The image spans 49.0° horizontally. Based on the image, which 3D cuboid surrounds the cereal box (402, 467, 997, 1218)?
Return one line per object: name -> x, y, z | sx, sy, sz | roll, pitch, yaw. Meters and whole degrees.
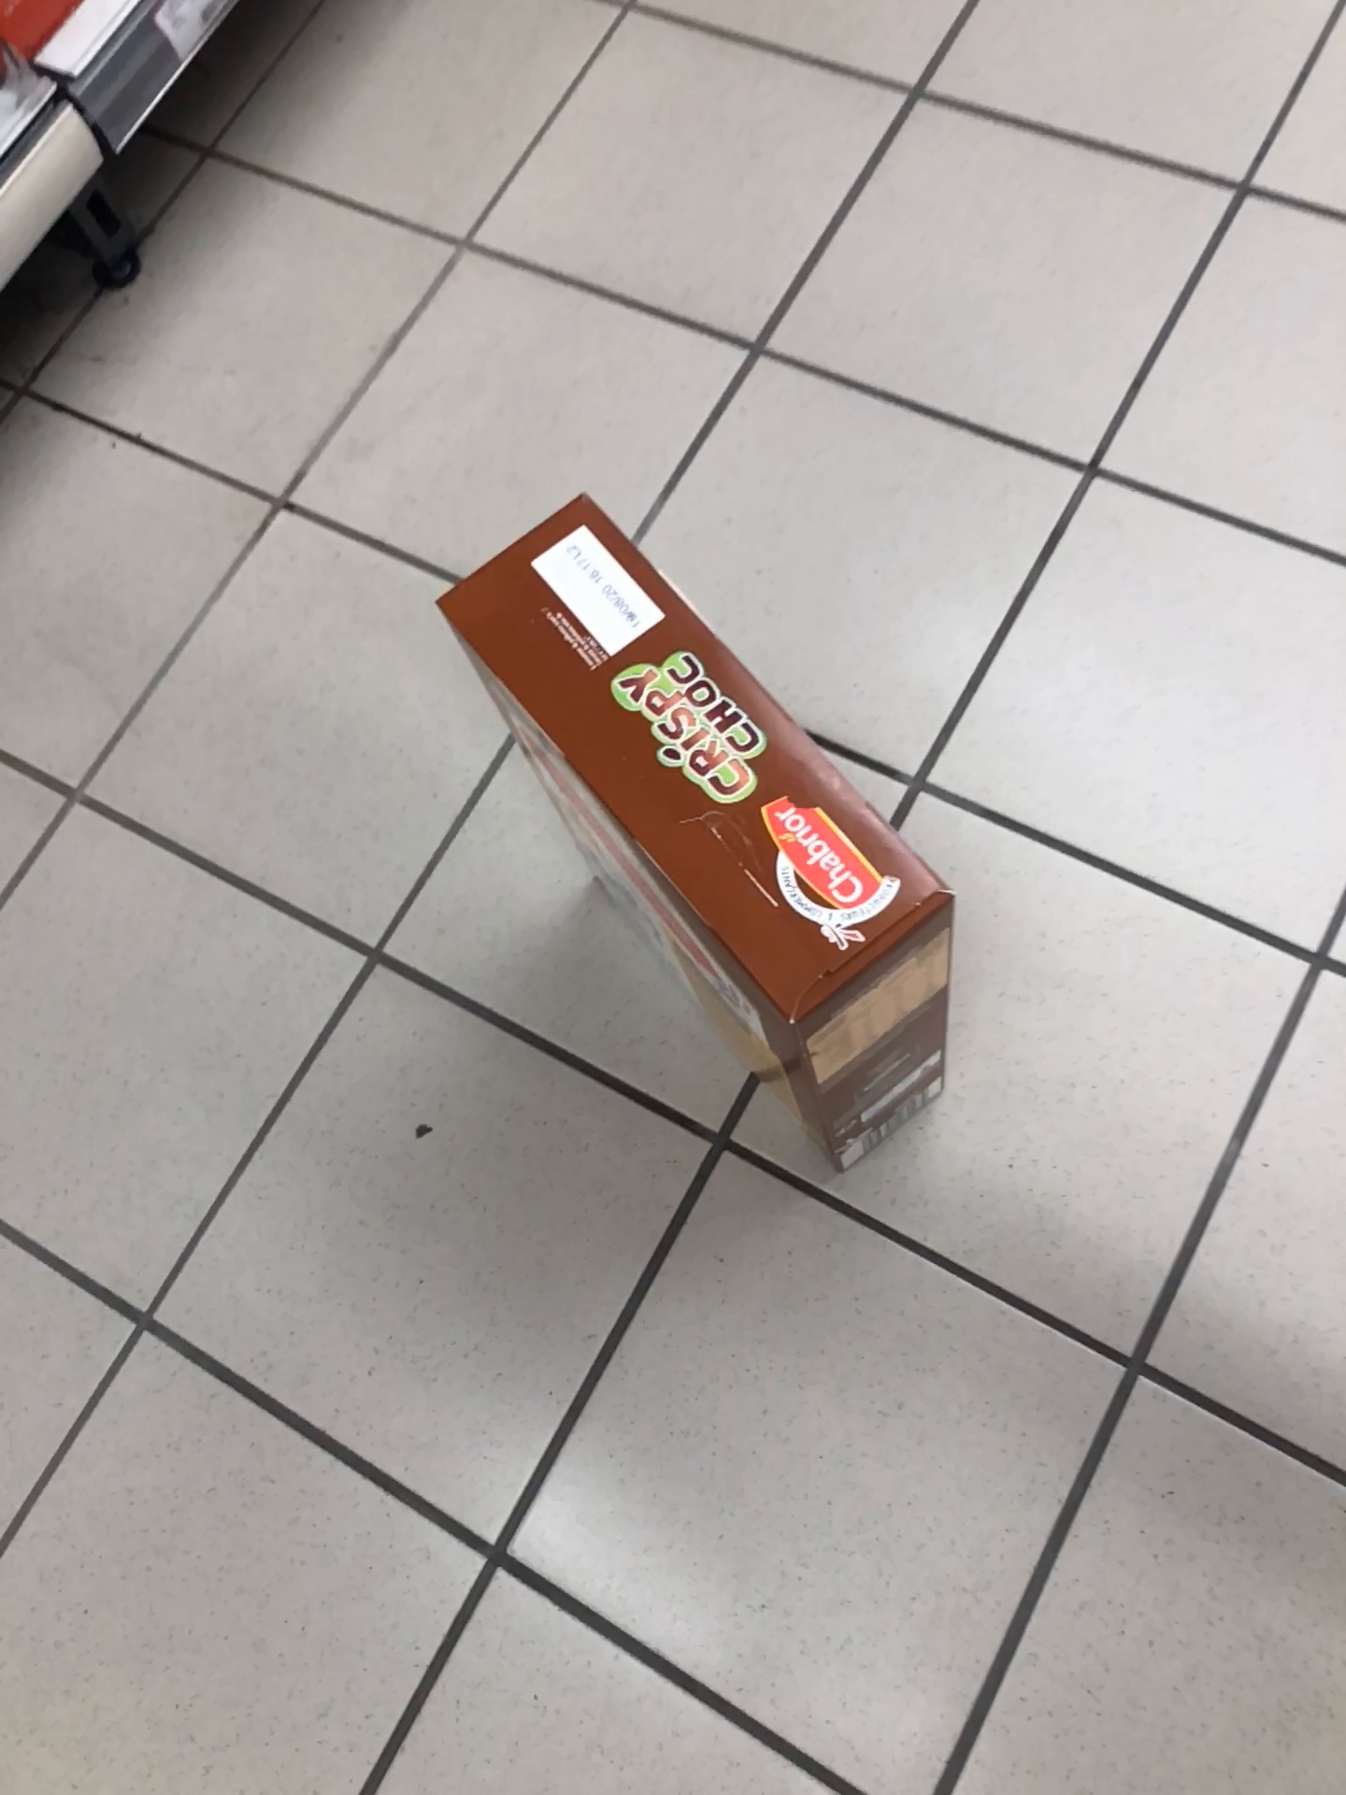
cereal box -> 0.022, 0.000, 0.575 | 0.070, 0.270, 0.210 | -37, 68, -5
